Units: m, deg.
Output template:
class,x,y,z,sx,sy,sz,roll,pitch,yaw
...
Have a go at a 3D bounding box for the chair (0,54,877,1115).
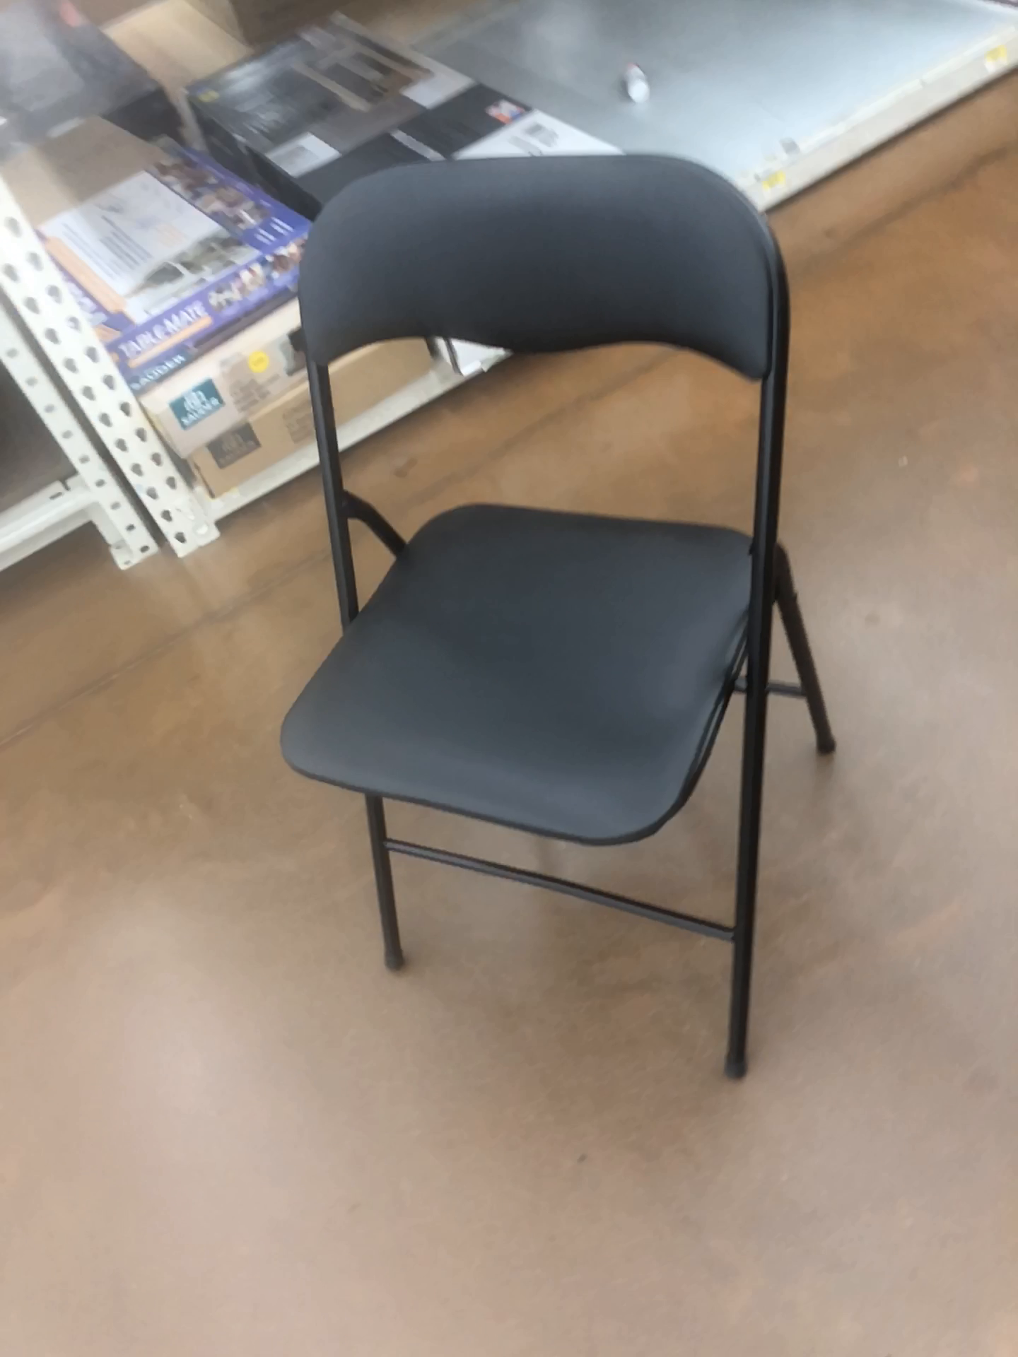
class,x,y,z,sx,sy,sz,roll,pitch,yaw
chair,0.017,-0.051,1.046,0.521,0.757,0.491,10,54,26
